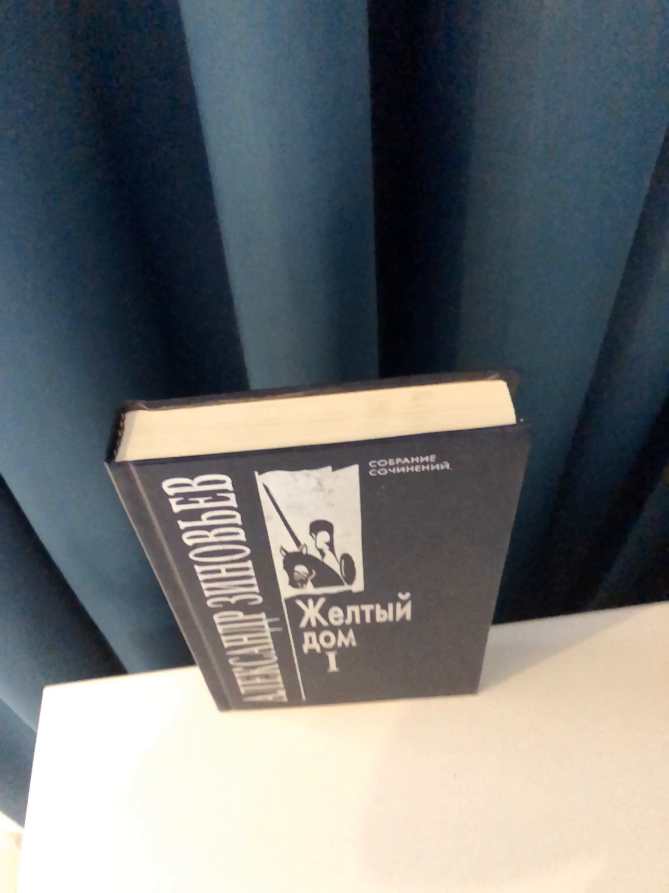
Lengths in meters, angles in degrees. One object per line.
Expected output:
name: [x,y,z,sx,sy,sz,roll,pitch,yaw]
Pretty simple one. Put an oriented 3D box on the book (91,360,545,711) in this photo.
book: [0.001,0.055,0.319,0.140,0.210,0.033,-4,50,1]
